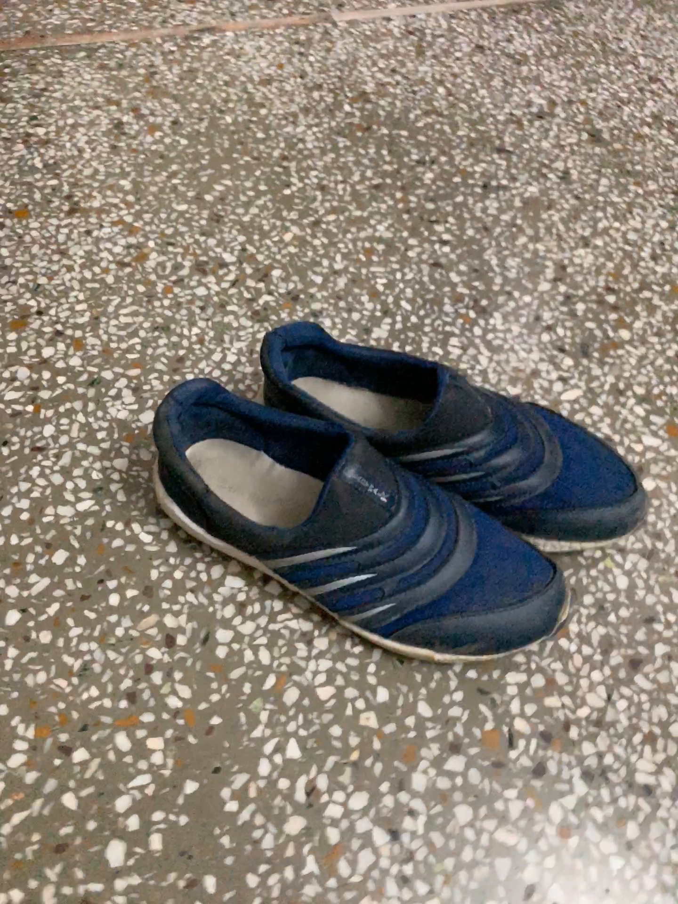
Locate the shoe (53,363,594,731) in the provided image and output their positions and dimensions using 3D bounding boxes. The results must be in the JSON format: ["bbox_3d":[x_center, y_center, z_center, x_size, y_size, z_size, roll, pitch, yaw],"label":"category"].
[{"bbox_3d":[-0.009,0.054,0.421,0.284,0.080,0.103,20,58,9],"label":"shoe"}]

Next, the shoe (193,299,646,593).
[{"bbox_3d":[0.054,-0.005,0.490,0.280,0.096,0.103,15,57,6],"label":"shoe"}]
